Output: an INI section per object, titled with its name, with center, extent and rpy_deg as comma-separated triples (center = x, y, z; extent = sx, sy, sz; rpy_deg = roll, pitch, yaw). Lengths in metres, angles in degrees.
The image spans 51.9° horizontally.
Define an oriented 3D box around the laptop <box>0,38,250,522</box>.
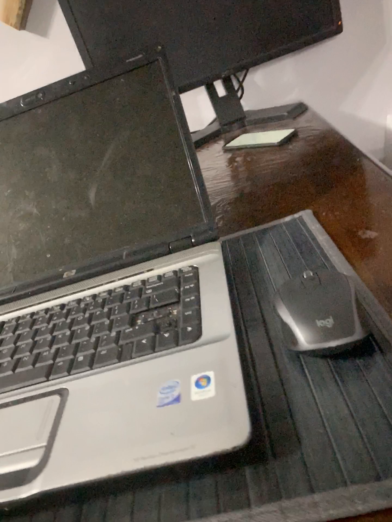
[laptop]
center = -0.170, -0.036, 0.374
extent = 0.349, 0.186, 0.404
rpy_deg = -17, 29, 8
